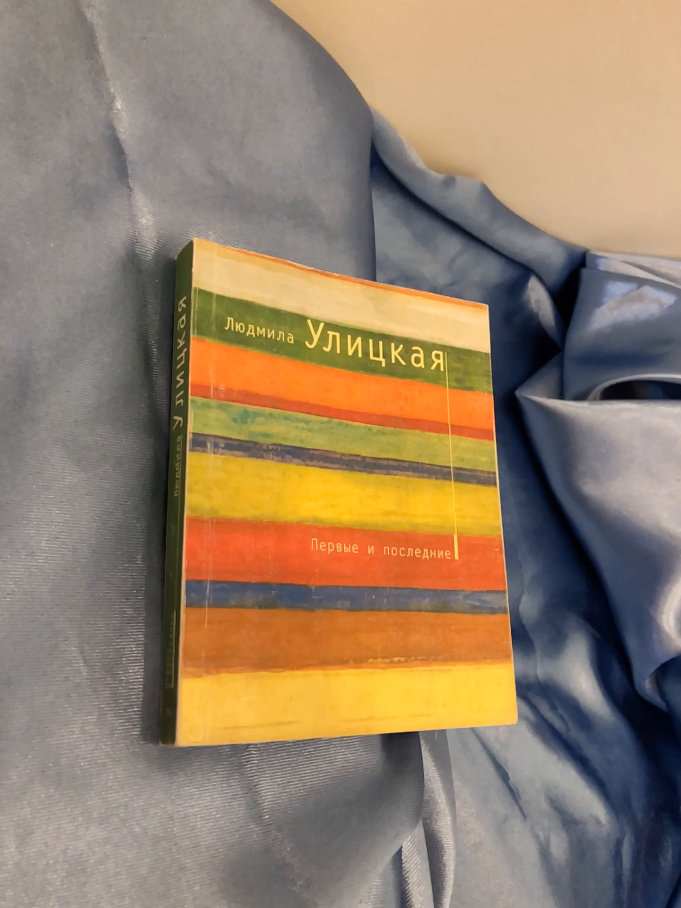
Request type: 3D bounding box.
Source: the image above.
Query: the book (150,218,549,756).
[{"bbox_3d":[0.006,0.012,0.265,0.130,0.026,0.167,7,71,-25],"label":"book"}]
